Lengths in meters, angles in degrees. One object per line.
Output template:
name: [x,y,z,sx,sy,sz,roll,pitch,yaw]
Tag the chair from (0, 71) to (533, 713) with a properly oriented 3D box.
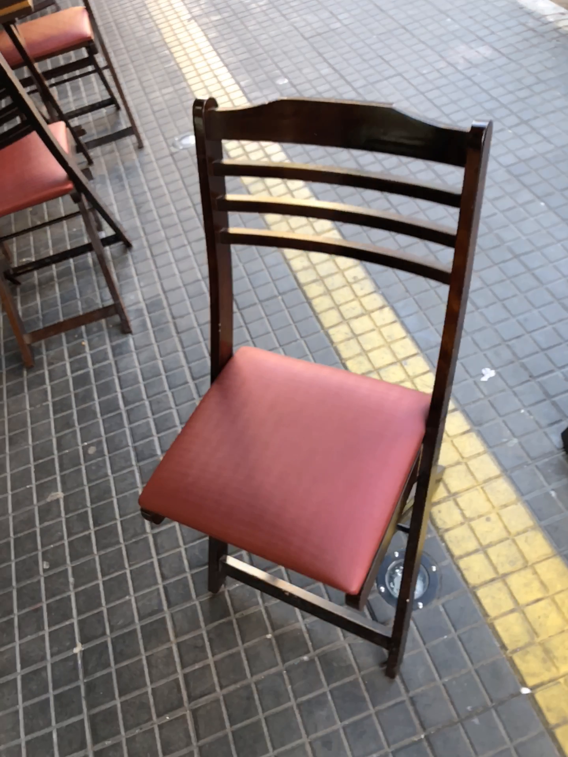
chair: [0.016,0.074,0.973,0.511,0.845,0.482,16,59,25]
